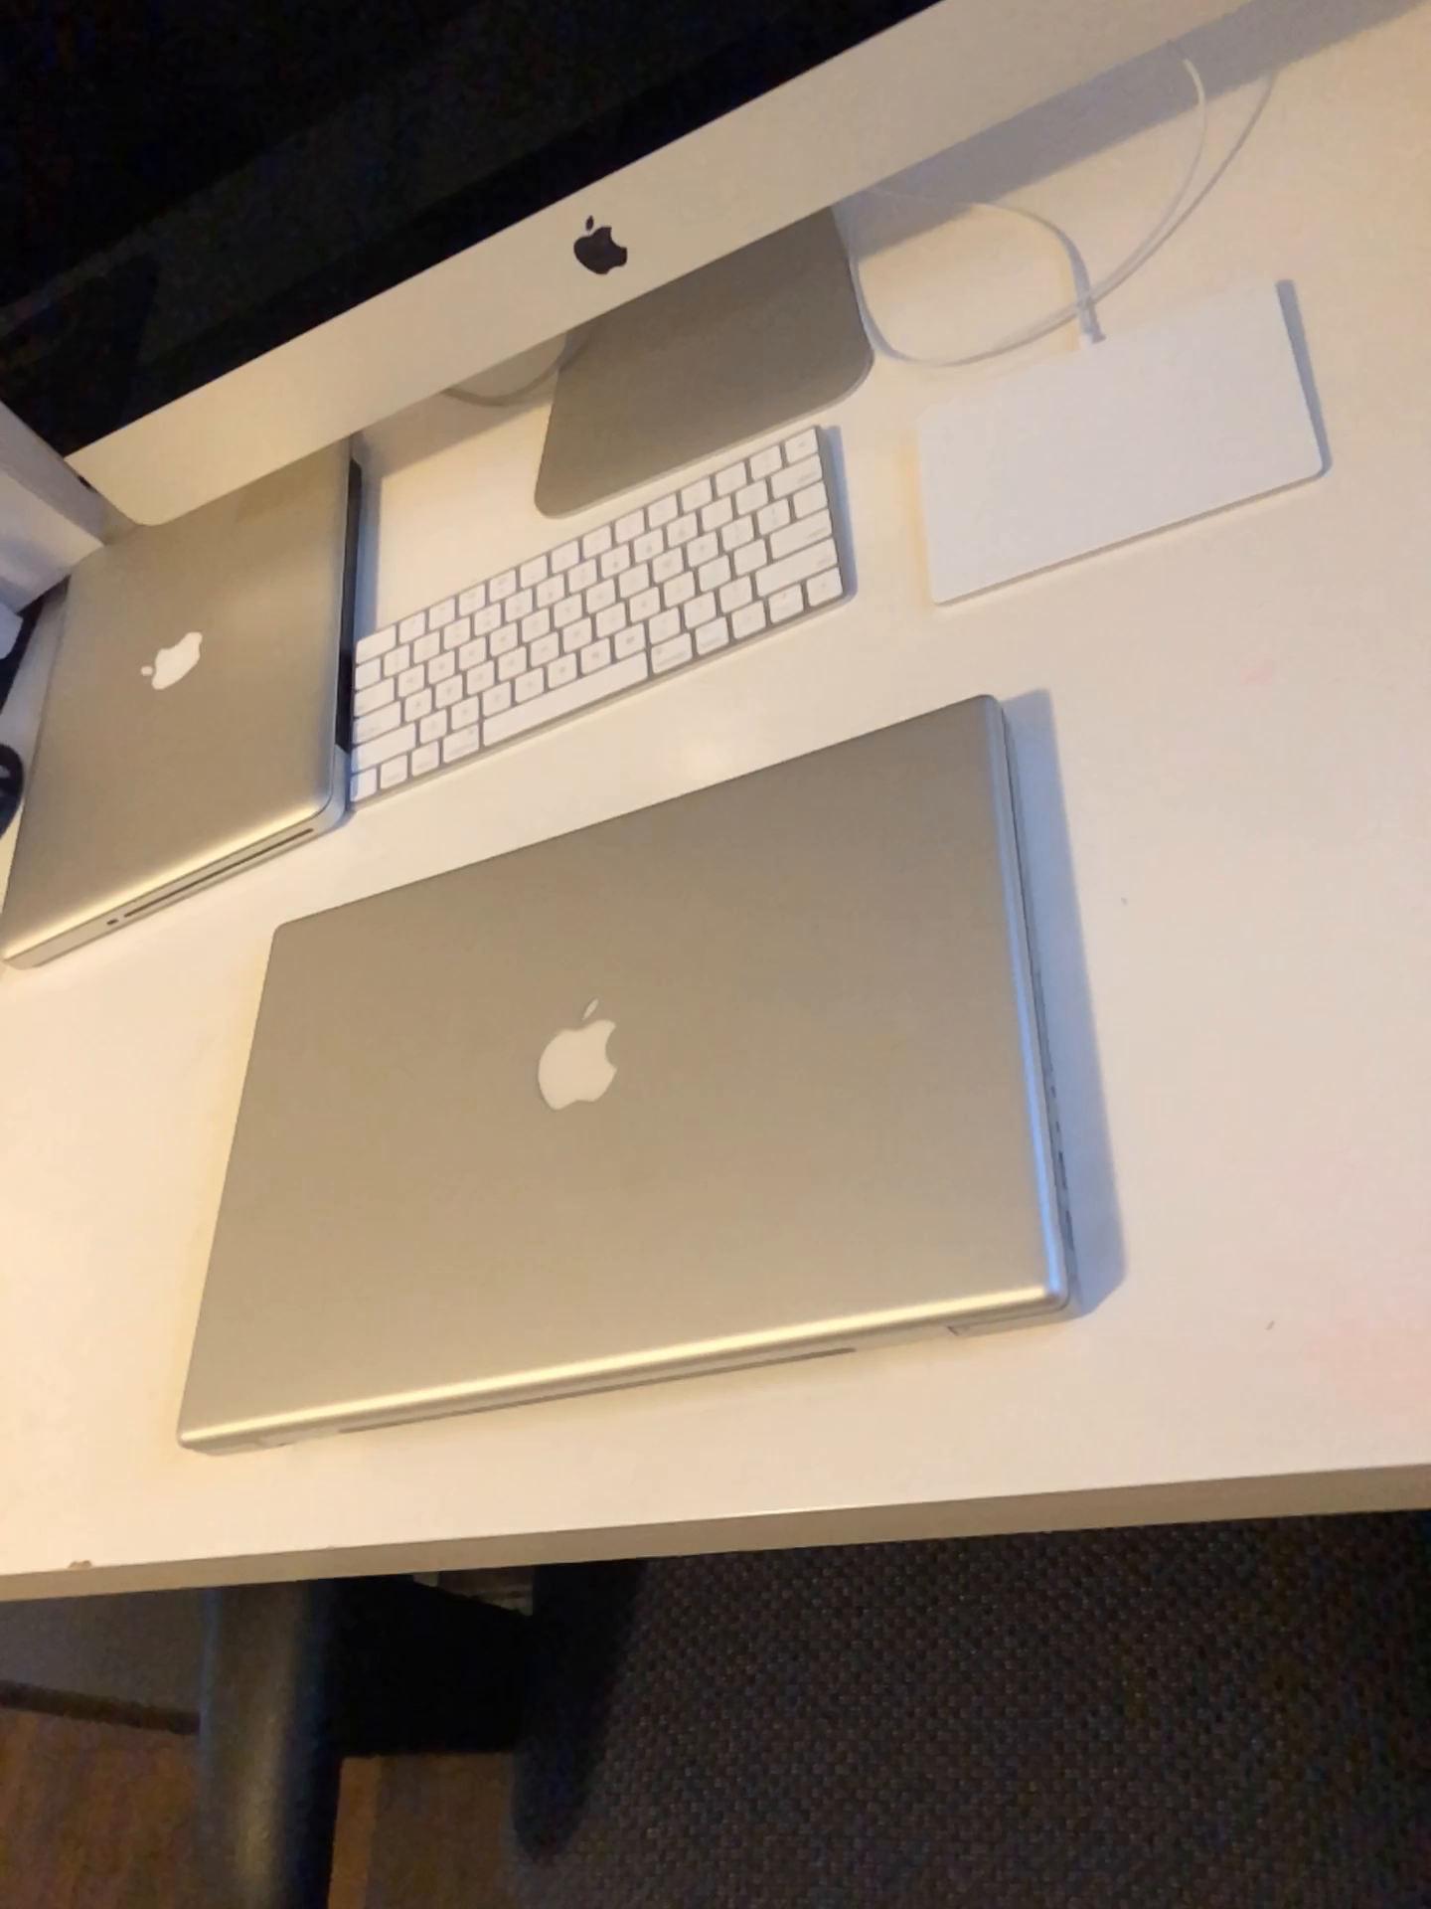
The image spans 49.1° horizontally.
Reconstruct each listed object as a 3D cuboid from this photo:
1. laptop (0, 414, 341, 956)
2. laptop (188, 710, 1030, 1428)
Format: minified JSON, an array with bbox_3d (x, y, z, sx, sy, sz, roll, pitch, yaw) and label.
[{"bbox_3d":[-0.305,-0.158,0.874,0.200,0.009,0.279,-19,55,18],"label":"laptop"},{"bbox_3d":[-0.052,0.046,0.589,0.332,0.005,0.215,-15,56,23],"label":"laptop"}]
